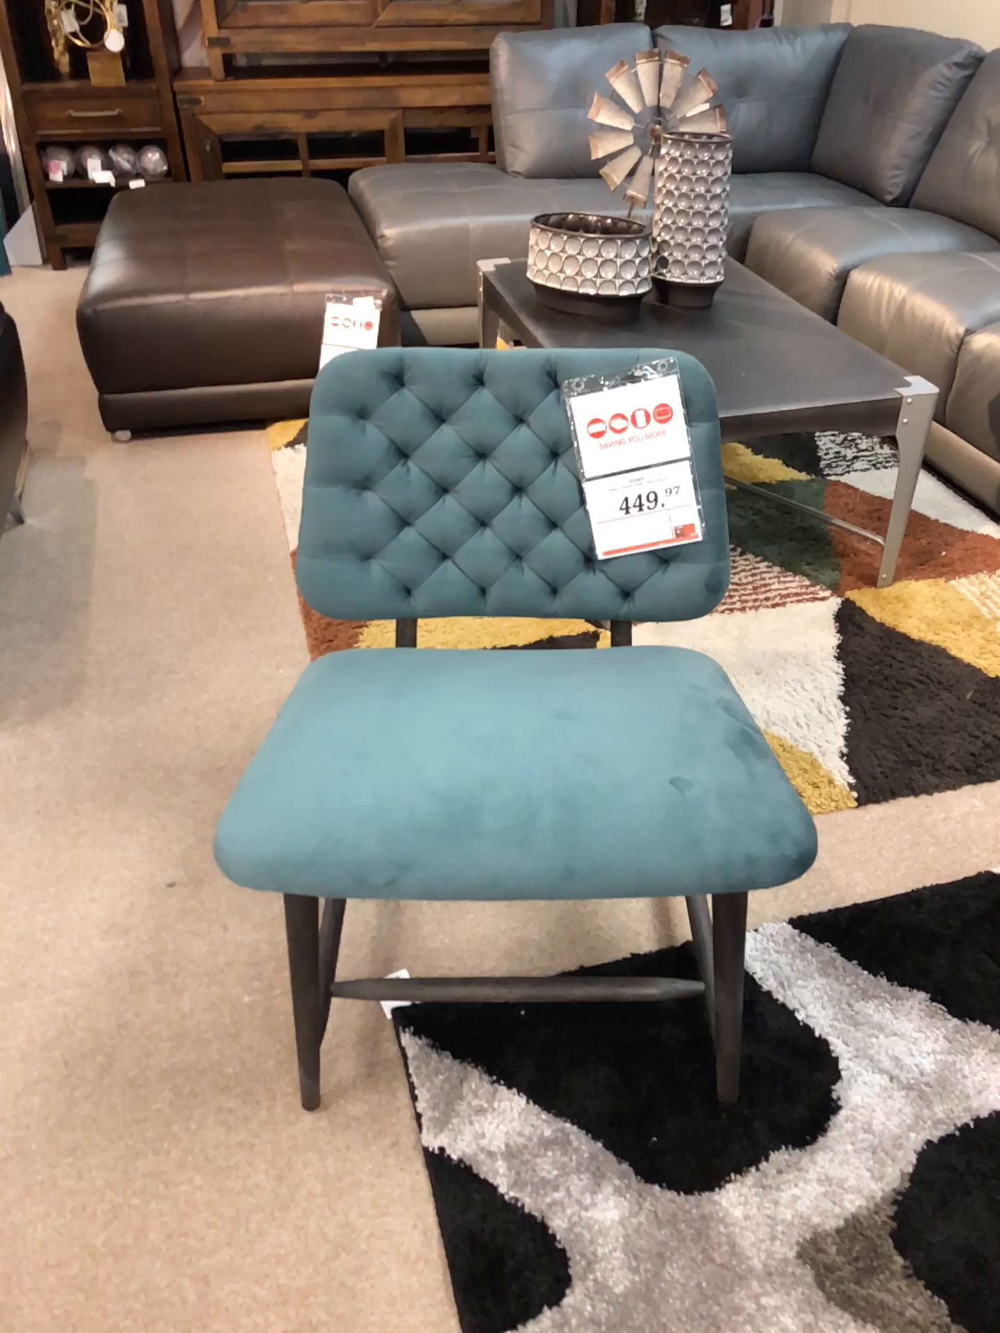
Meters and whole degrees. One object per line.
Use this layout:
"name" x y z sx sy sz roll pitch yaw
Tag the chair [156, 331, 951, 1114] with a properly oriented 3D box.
"chair" 0.029 0.070 1.307 0.639 0.765 0.535 1 35 -2
